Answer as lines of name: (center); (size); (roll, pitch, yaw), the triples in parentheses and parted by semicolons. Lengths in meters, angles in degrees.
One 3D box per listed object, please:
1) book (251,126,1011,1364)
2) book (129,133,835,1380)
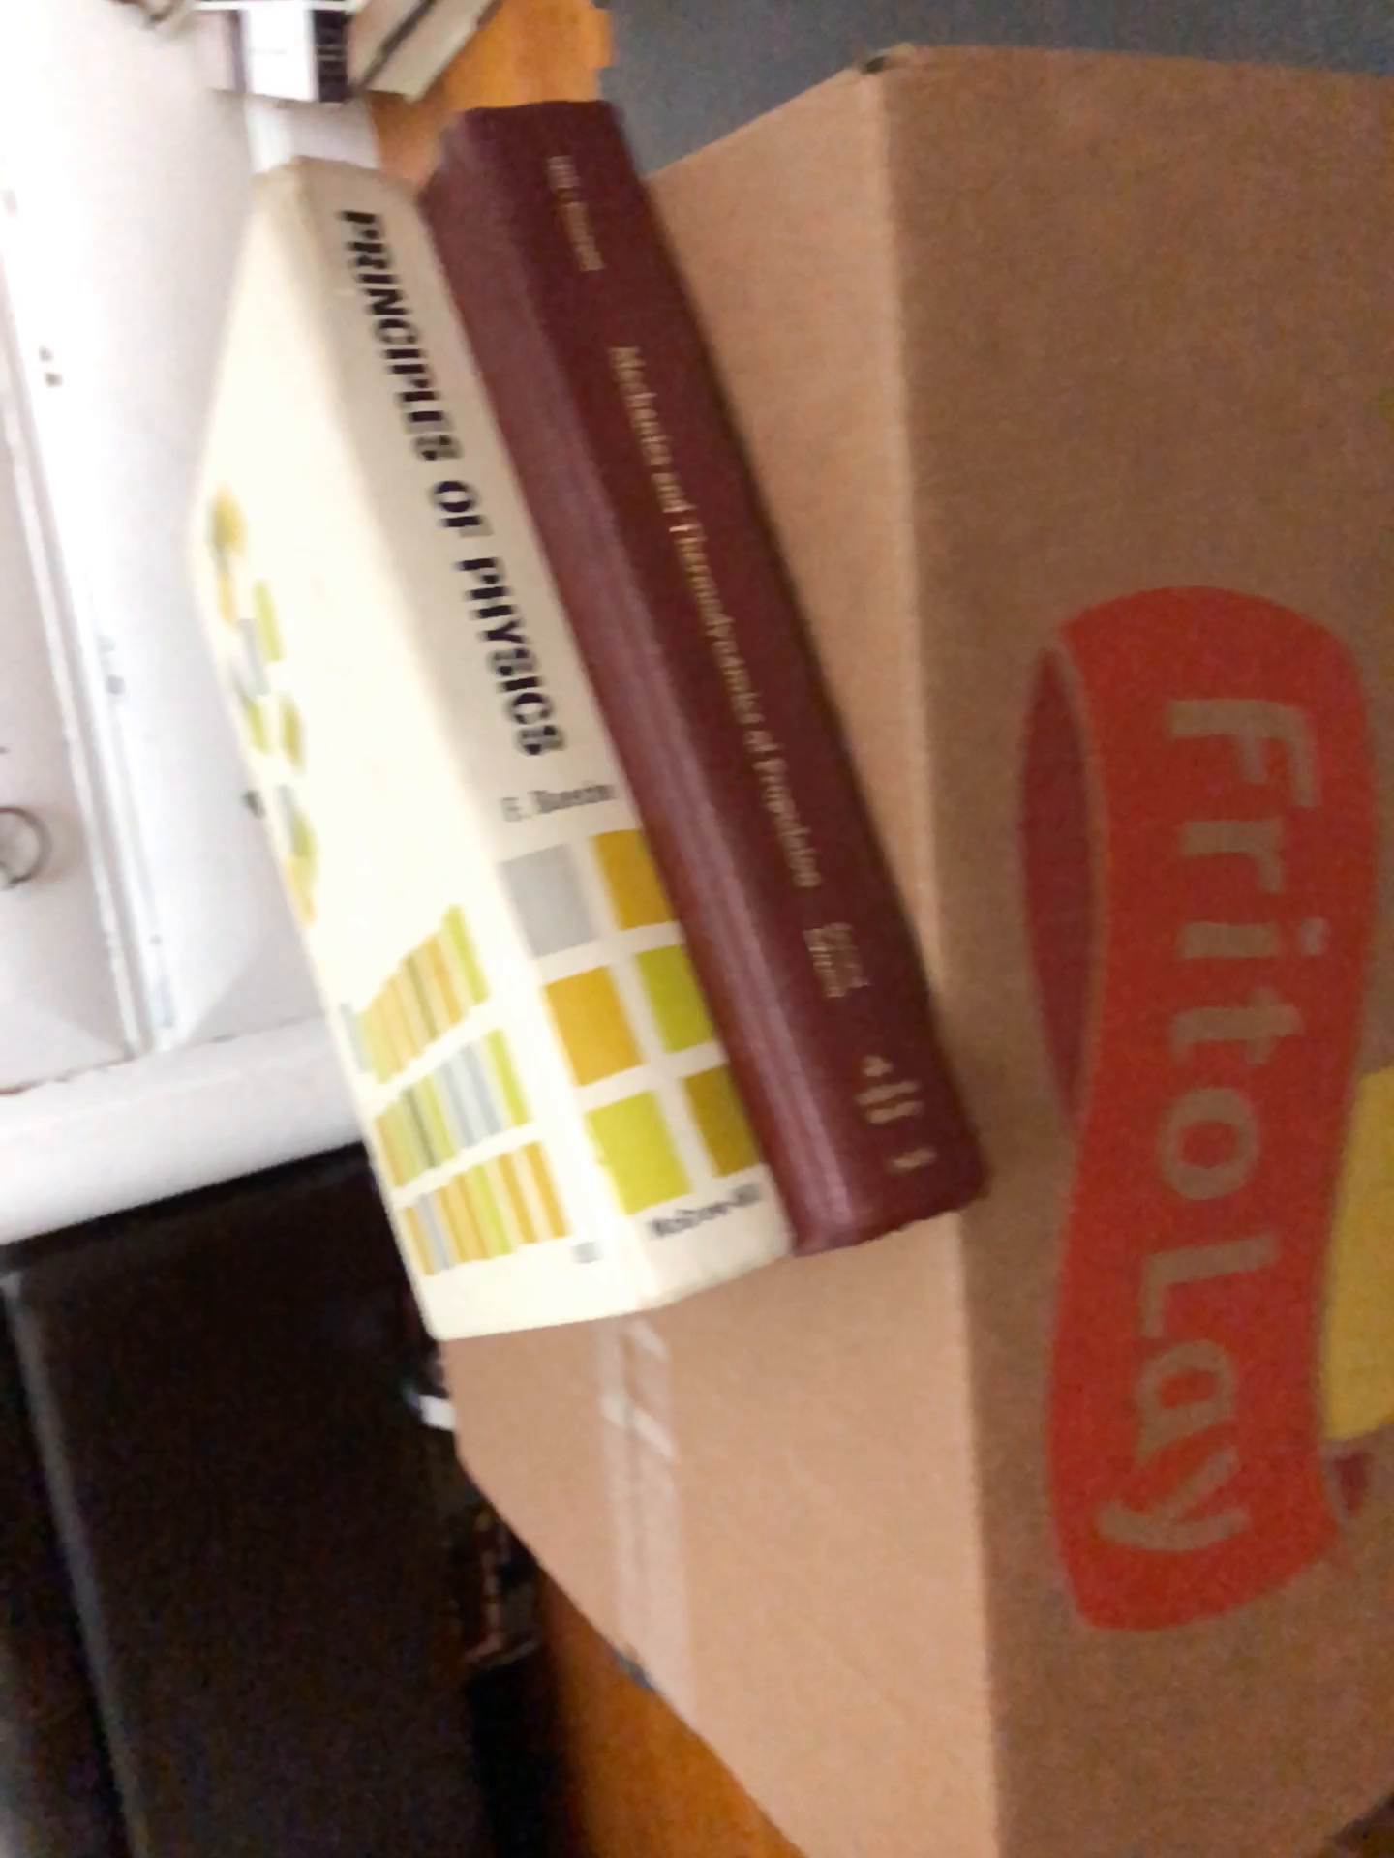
book: (-0.036, -0.023, 0.379); (0.181, 0.040, 0.250); (-28, 80, 61)
book: (-0.072, -0.021, 0.376); (0.181, 0.040, 0.250); (-34, 75, 60)
